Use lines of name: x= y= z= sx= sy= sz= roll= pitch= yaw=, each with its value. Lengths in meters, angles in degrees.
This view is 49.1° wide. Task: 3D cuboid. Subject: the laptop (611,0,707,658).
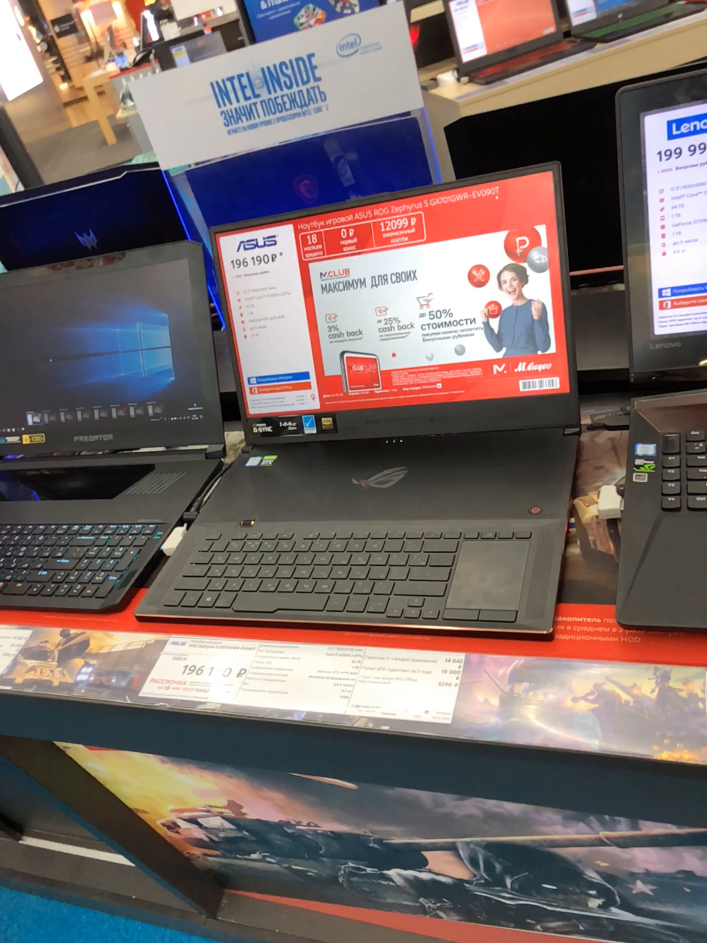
laptop: x=0.400 y=-0.131 z=0.546 sx=0.374 sy=0.248 sz=0.413 roll=-3 pitch=37 yaw=26

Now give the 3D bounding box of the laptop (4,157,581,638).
laptop: x=-0.011 y=-0.080 z=0.739 sx=0.391 sy=0.240 sz=0.379 roll=-2 pitch=37 yaw=23
